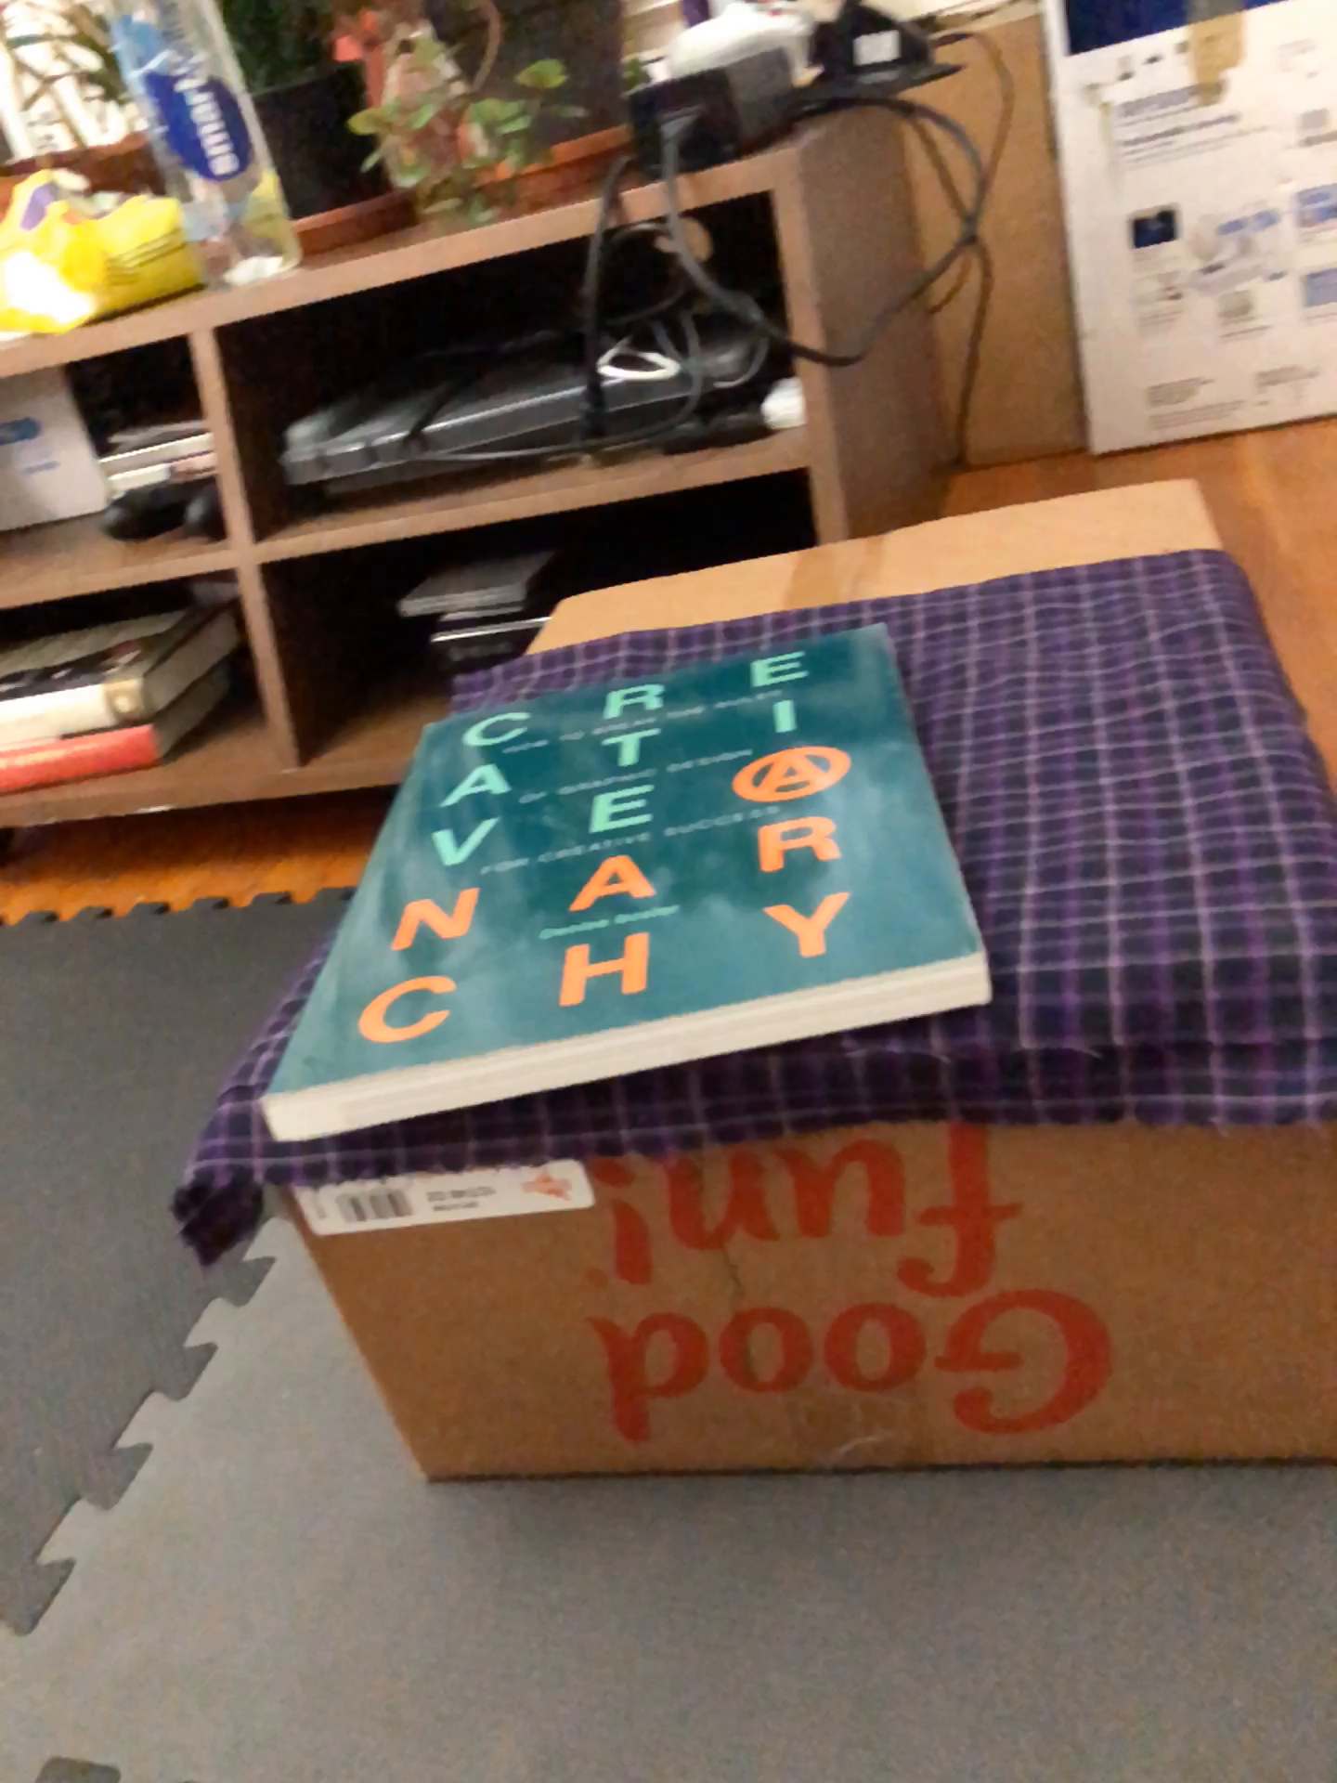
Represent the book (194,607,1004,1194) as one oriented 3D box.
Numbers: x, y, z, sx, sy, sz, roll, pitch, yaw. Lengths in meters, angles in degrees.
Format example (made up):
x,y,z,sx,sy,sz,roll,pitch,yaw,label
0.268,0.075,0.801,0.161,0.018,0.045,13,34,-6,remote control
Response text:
x,y,z,sx,sy,sz,roll,pitch,yaw,label
-0.018,-0.019,0.525,0.220,0.020,0.302,-12,28,8,book
